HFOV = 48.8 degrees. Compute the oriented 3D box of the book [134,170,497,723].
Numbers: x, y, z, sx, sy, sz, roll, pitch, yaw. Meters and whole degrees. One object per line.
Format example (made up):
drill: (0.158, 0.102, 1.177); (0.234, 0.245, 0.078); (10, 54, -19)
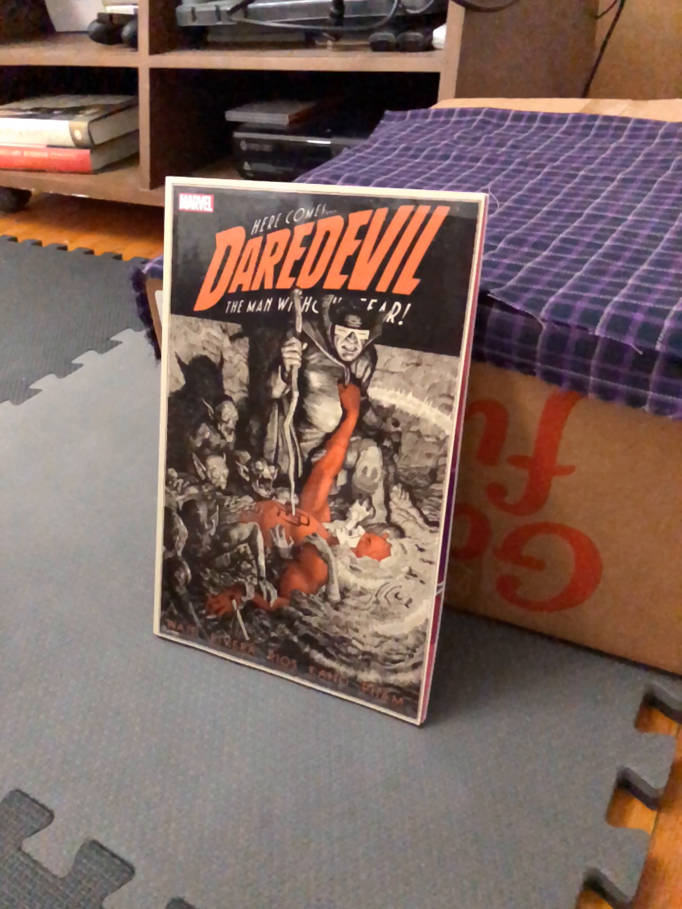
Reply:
book: (-0.024, -0.006, 0.349); (0.160, 0.229, 0.020); (12, 17, 23)
